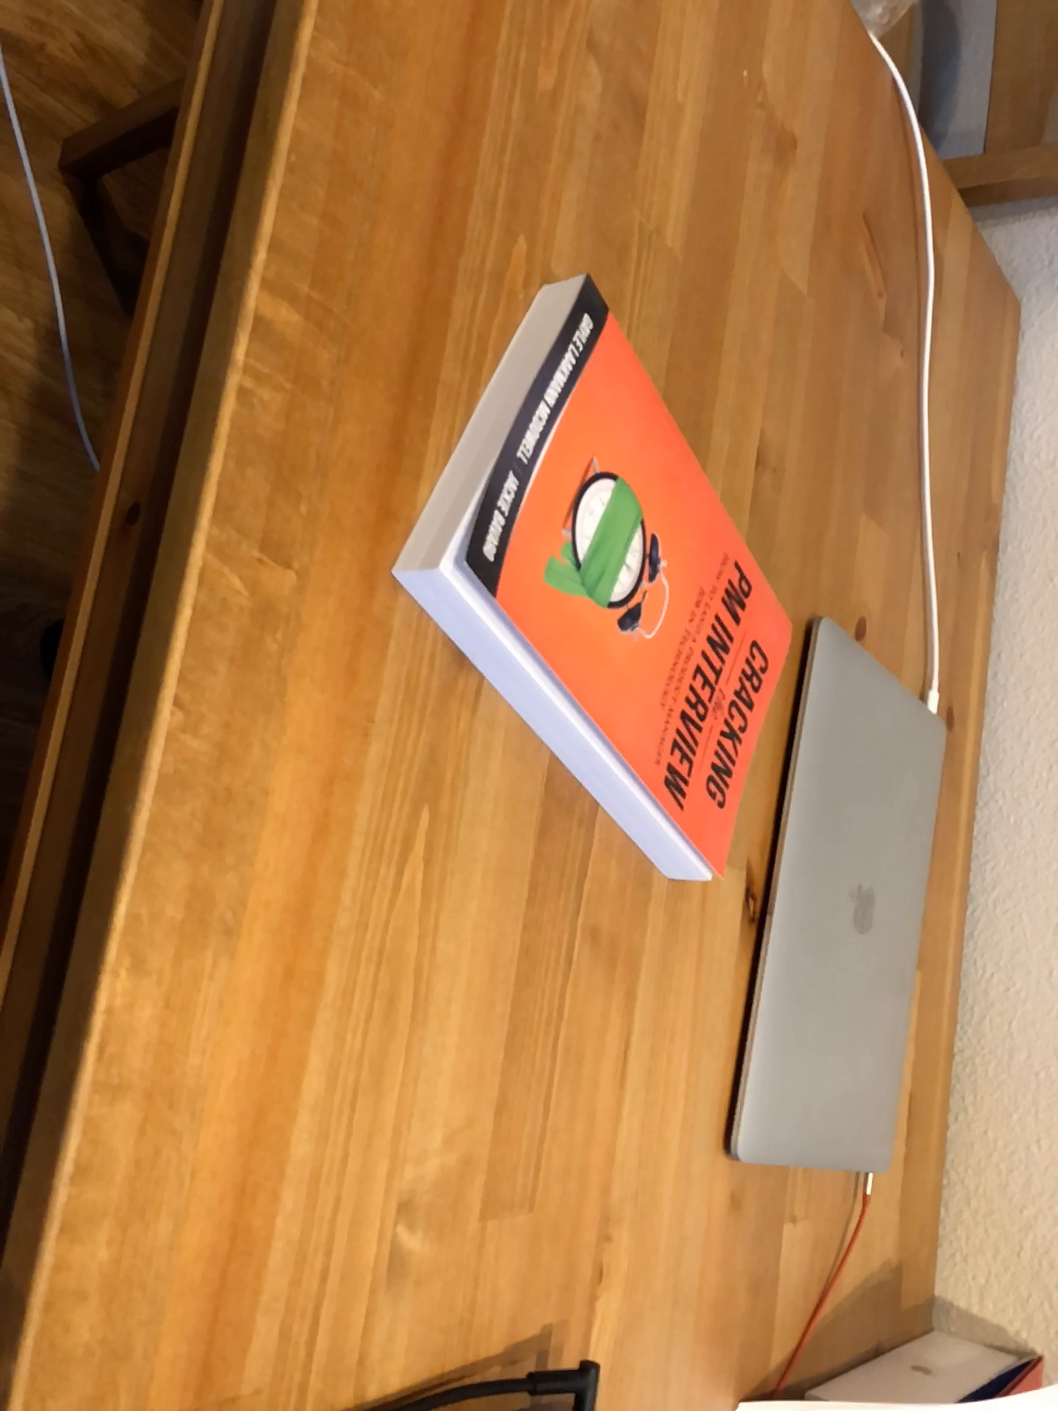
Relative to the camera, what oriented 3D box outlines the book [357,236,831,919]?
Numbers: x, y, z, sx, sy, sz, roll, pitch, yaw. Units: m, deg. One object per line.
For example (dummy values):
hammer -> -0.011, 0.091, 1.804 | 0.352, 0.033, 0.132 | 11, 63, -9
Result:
book -> 0.049, -0.040, 0.496 | 0.251, 0.040, 0.160 | 49, 54, -41
